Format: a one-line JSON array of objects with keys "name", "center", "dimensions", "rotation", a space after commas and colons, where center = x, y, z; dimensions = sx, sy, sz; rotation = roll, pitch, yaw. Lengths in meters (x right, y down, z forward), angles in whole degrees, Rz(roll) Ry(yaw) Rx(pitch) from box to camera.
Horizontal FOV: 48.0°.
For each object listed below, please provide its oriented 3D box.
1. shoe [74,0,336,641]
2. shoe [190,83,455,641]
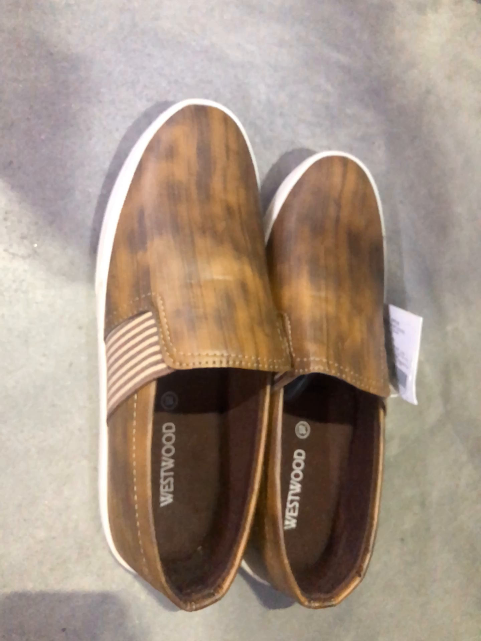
[{"name": "shoe", "center": [-0.021, -0.007, 0.295], "dimensions": [0.110, 0.100, 0.290], "rotation": [4, 81, -19]}, {"name": "shoe", "center": [0.054, 0.025, 0.360], "dimensions": [0.110, 0.100, 0.310], "rotation": [11, 79, -18]}]
